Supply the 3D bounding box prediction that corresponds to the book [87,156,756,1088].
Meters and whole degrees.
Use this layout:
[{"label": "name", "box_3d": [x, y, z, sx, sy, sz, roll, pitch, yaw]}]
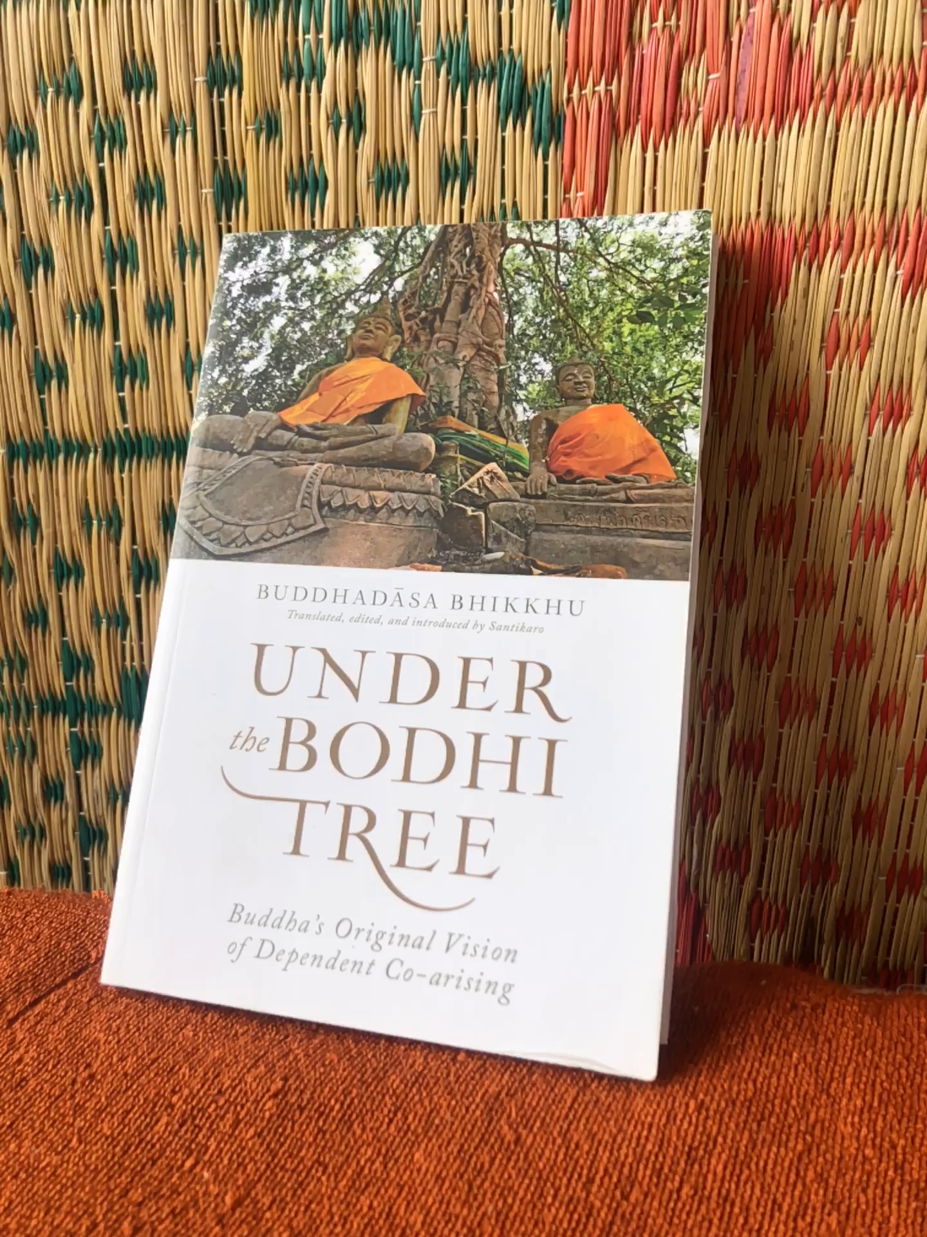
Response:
[{"label": "book", "box_3d": [-0.007, -0.010, 0.285, 0.160, 0.231, 0.030, 3, -11, 15]}]
